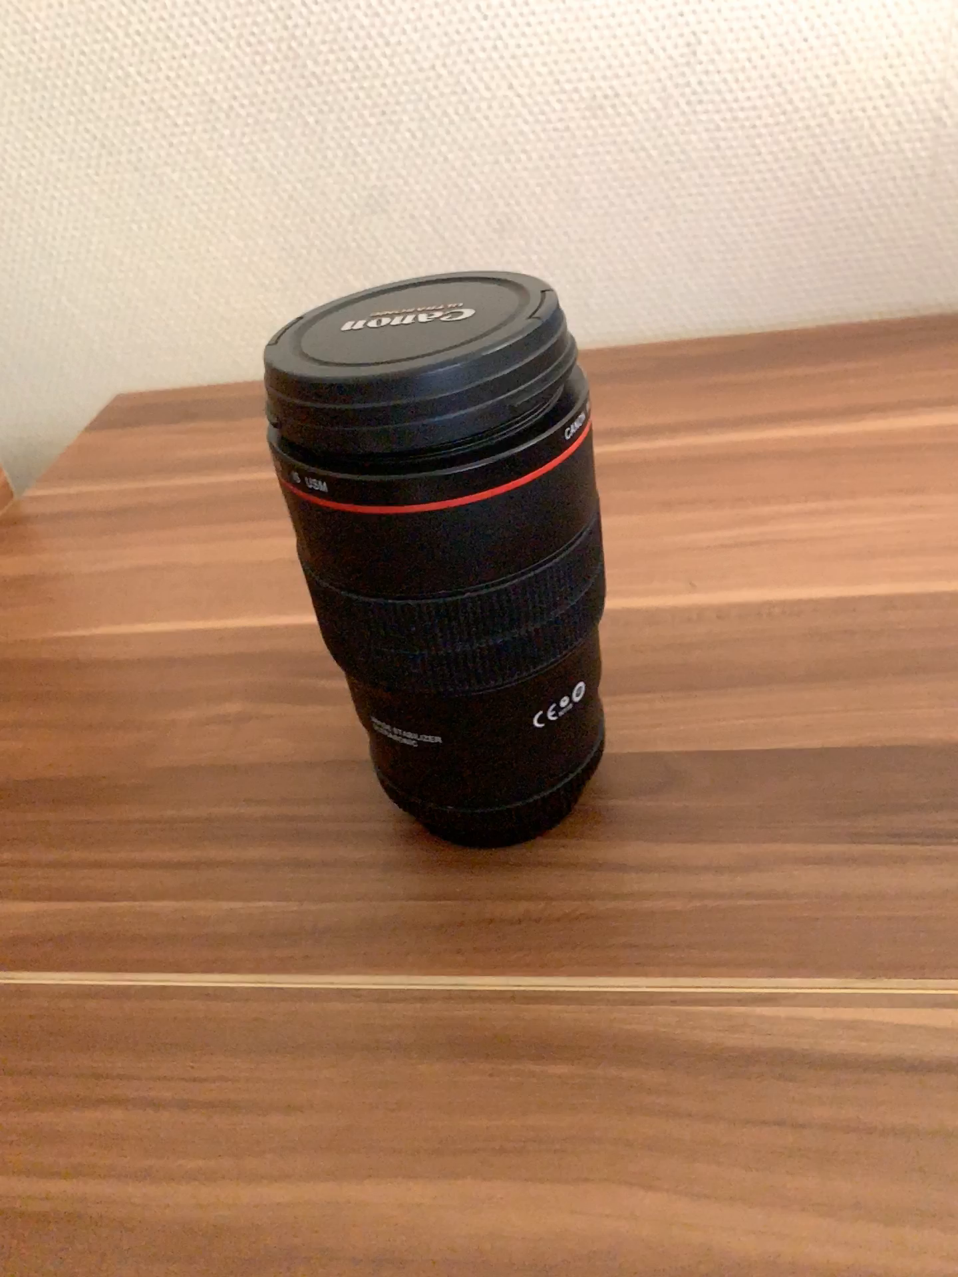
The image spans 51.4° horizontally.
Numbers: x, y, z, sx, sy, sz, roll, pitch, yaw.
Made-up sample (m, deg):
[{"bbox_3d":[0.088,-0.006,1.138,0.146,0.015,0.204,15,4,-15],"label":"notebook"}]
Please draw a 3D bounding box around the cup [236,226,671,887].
[{"bbox_3d":[-0.002,-0.017,0.256,0.080,0.139,0.070,-13,37,-4],"label":"cup"}]
